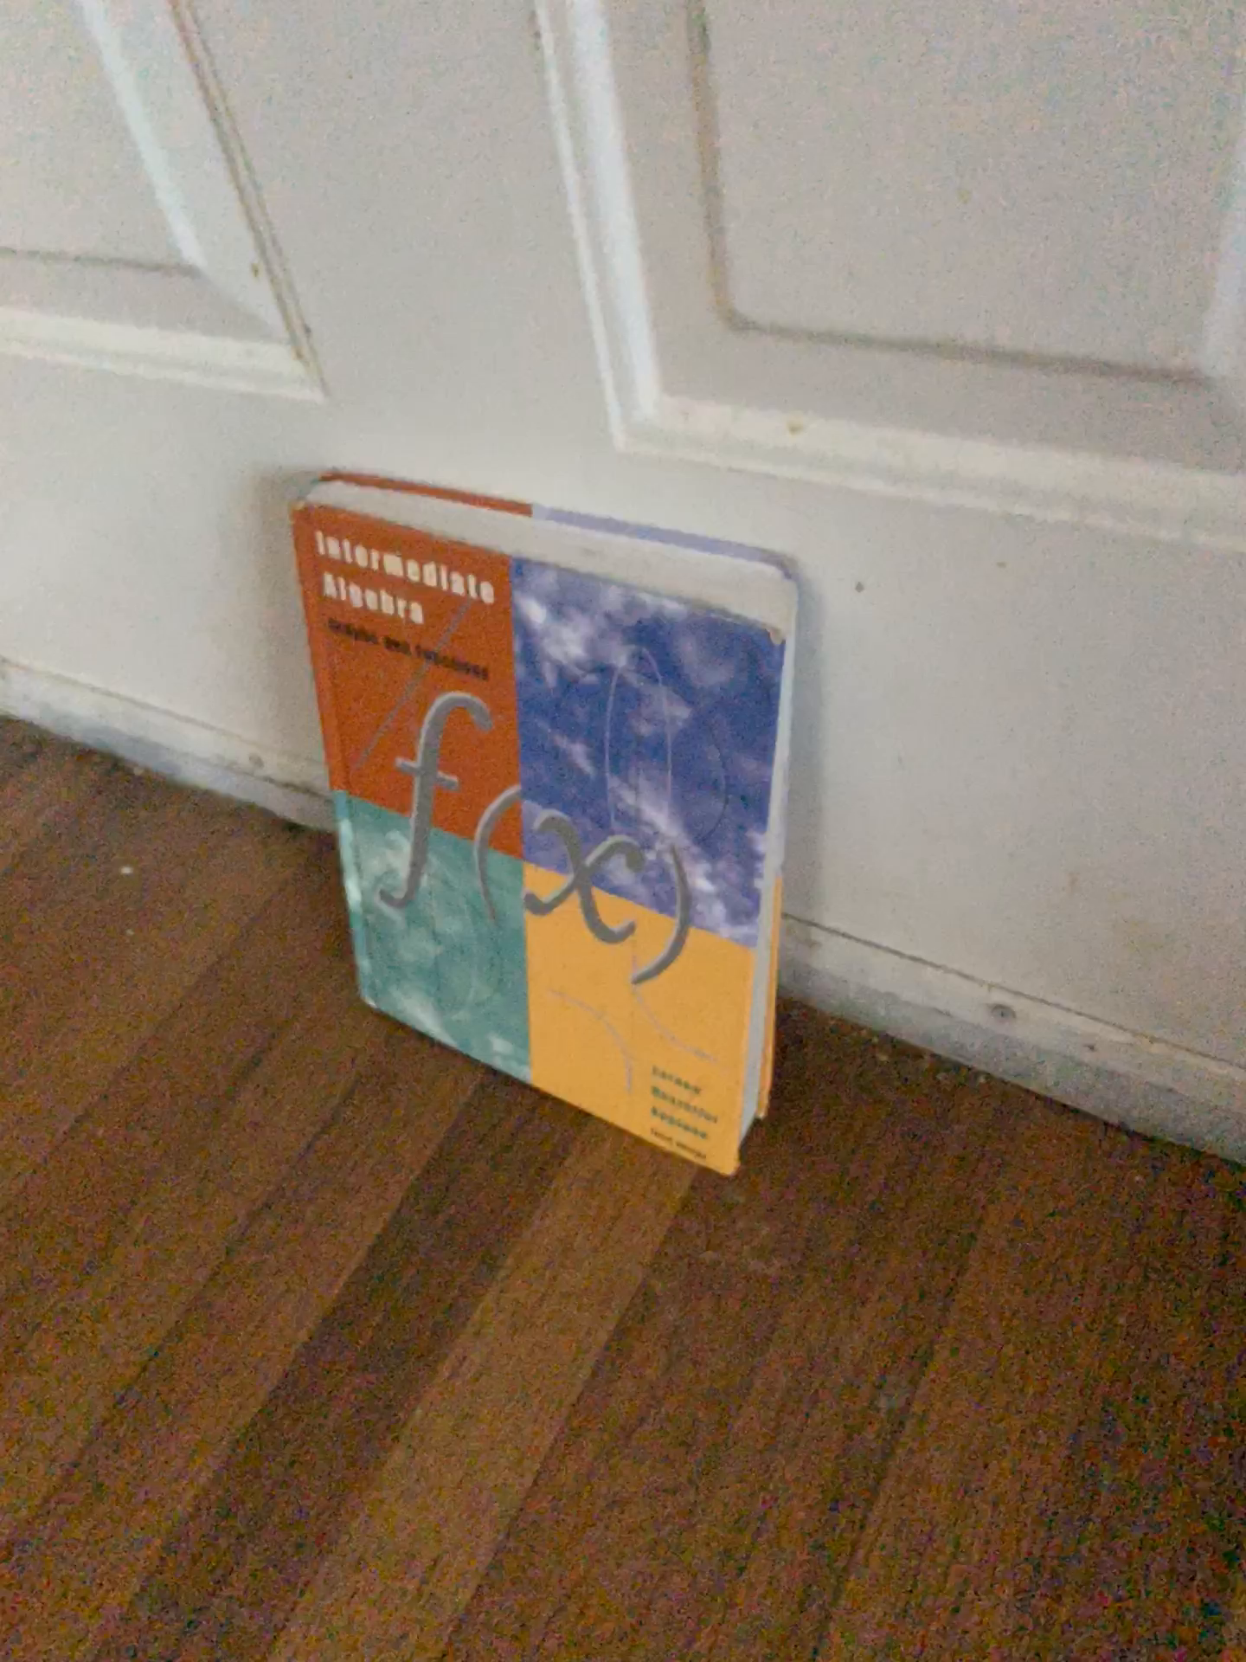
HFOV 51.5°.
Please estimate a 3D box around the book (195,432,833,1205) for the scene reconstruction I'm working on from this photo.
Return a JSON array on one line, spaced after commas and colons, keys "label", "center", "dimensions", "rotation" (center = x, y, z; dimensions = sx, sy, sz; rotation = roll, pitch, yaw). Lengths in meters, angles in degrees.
[{"label": "book", "center": [-0.043, -0.007, 0.509], "dimensions": [0.231, 0.249, 0.060], "rotation": [20, 38, 29]}]
